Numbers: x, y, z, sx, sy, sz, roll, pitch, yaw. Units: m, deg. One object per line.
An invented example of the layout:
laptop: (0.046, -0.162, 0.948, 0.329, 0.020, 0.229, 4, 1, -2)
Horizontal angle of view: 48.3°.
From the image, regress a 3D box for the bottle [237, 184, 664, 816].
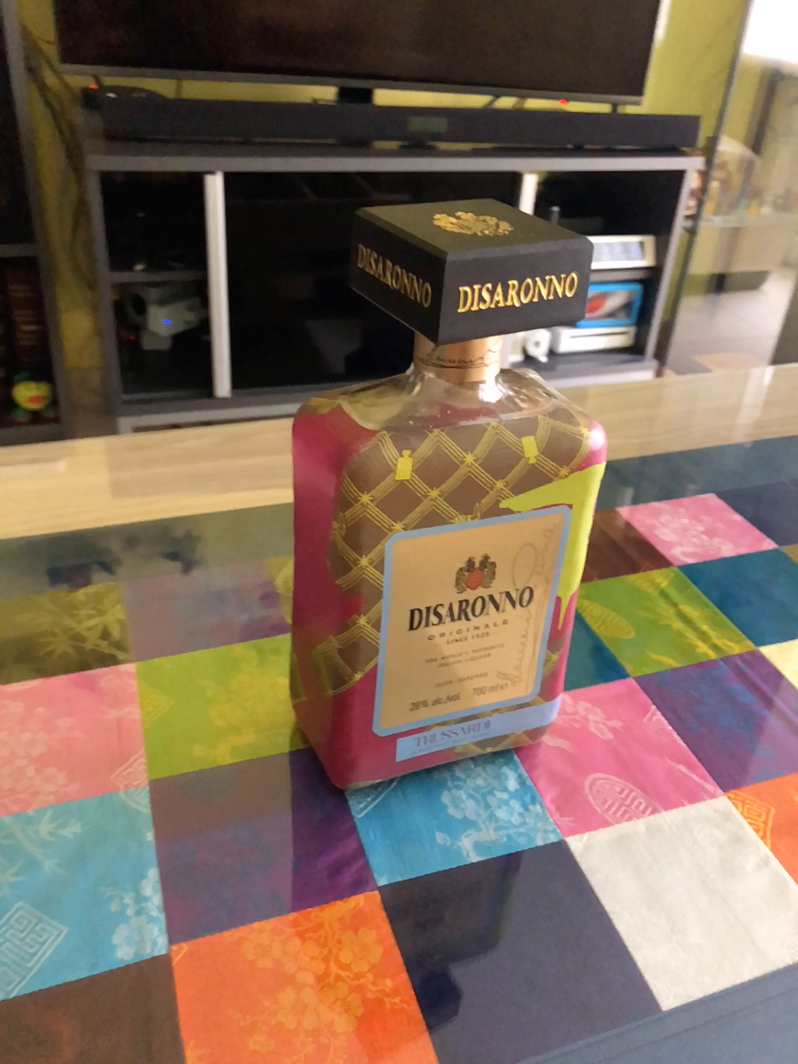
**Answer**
bottle: (0.008, -0.009, 0.356, 0.120, 0.229, 0.080, -9, 35, -20)
